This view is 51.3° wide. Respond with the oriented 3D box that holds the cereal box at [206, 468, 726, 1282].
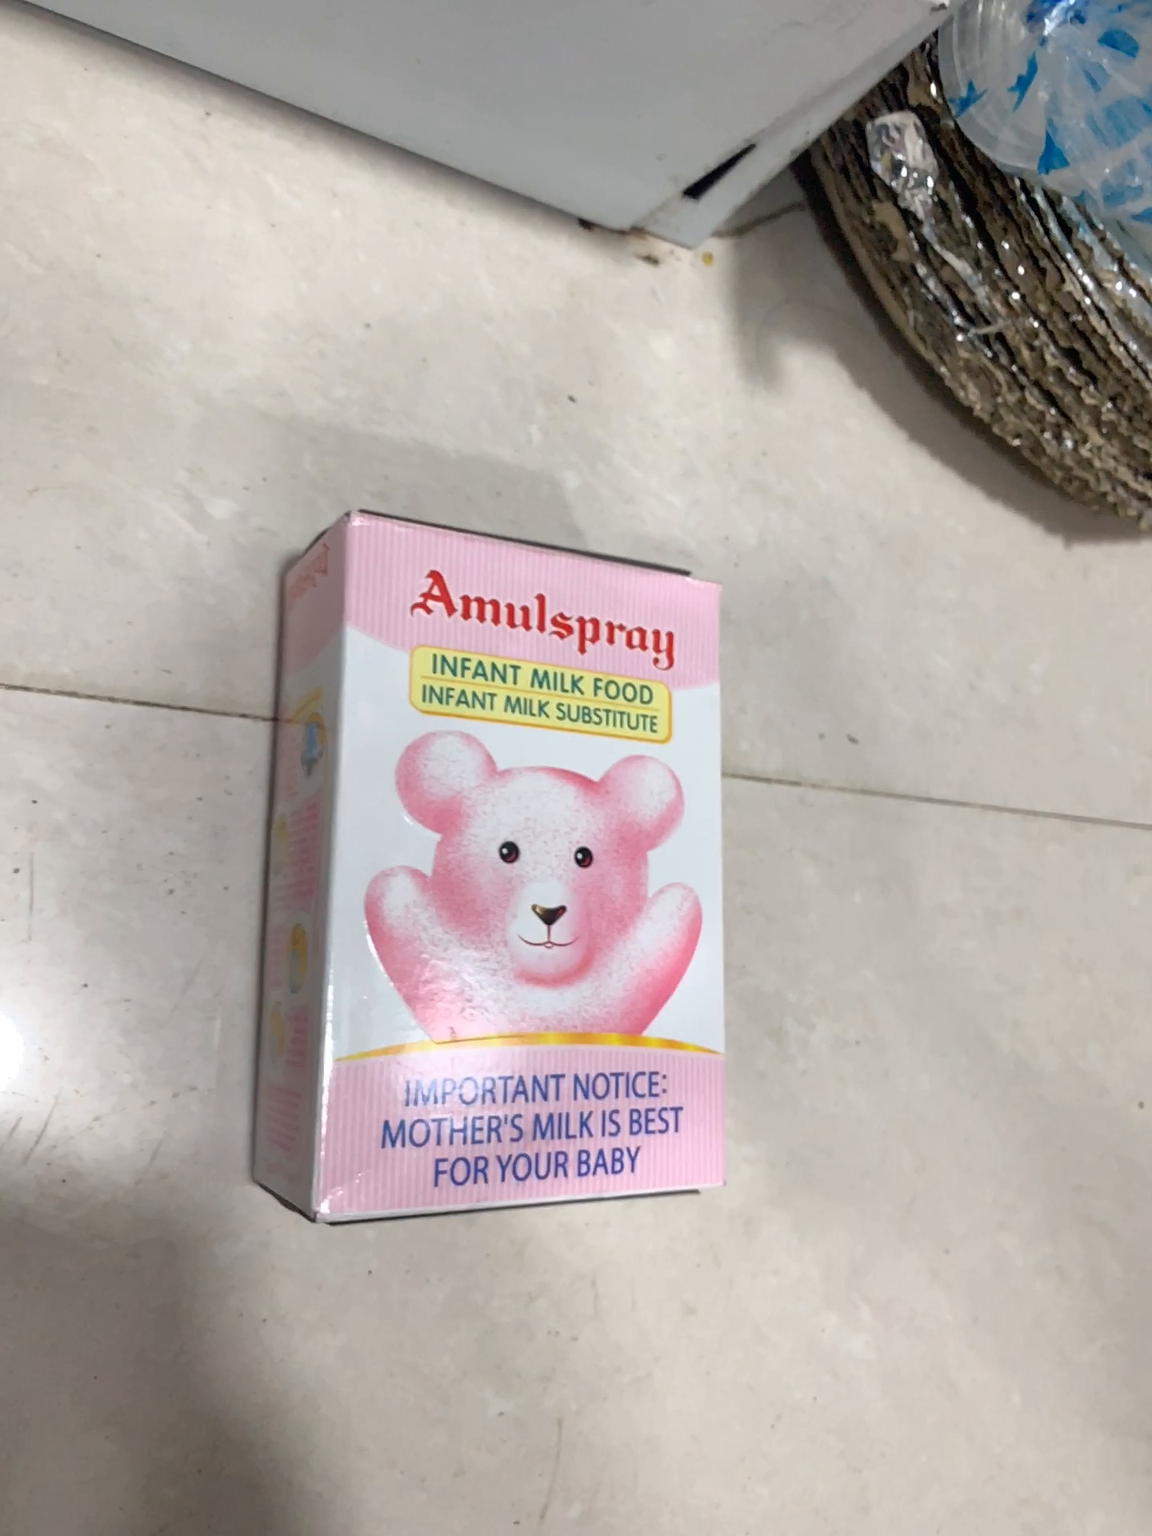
[{"bbox_3d":[-0.021,0.022,0.249,0.090,0.050,0.140,6,79,-28],"label":"cereal box"}]
